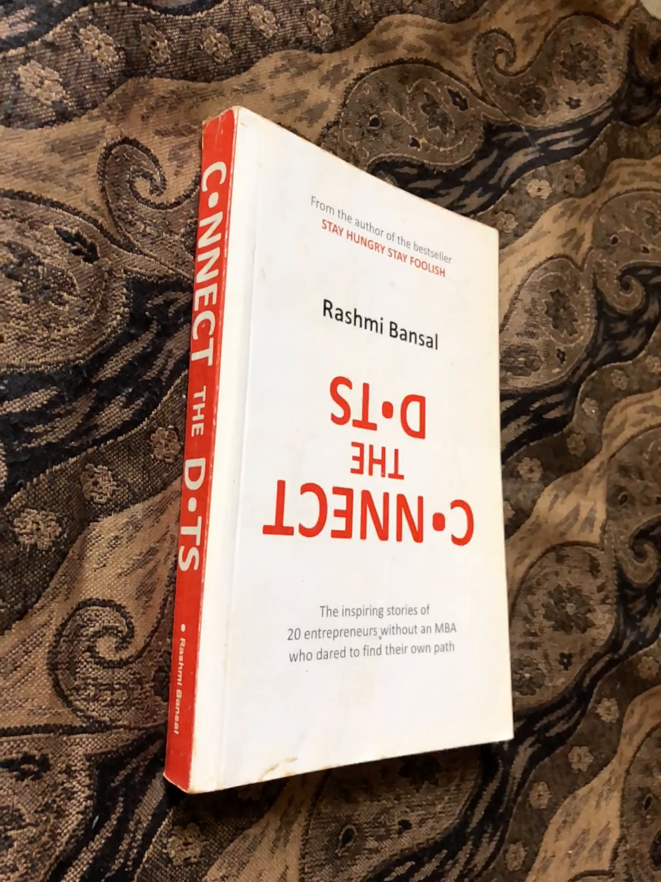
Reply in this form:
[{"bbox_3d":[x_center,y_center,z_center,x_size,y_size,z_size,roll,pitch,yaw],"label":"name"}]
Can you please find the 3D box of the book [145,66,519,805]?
[{"bbox_3d":[0.009,-0.001,0.271,0.131,0.040,0.220,8,79,-36],"label":"book"}]
